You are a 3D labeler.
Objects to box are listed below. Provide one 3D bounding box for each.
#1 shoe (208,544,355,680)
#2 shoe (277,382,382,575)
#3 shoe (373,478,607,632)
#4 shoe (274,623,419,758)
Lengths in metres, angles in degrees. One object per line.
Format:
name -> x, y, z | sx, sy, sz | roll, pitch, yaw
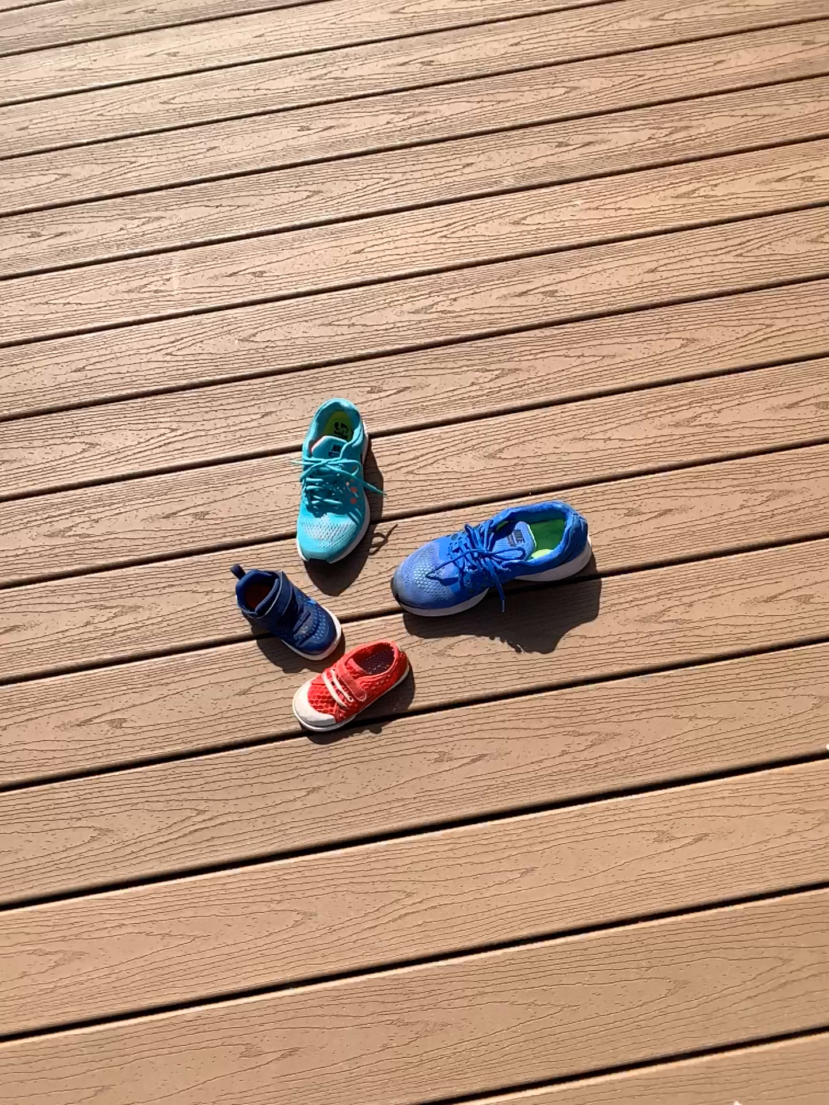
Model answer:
shoe -> -0.179, 0.081, 1.153 | 0.170, 0.070, 0.090 | 33, 71, 16
shoe -> -0.119, -0.111, 1.236 | 0.120, 0.090, 0.270 | 1, 66, 3
shoe -> 0.101, 0.004, 1.174 | 0.290, 0.090, 0.120 | -14, 66, -3
shoe -> -0.087, 0.182, 1.118 | 0.170, 0.060, 0.080 | -35, 69, -12
